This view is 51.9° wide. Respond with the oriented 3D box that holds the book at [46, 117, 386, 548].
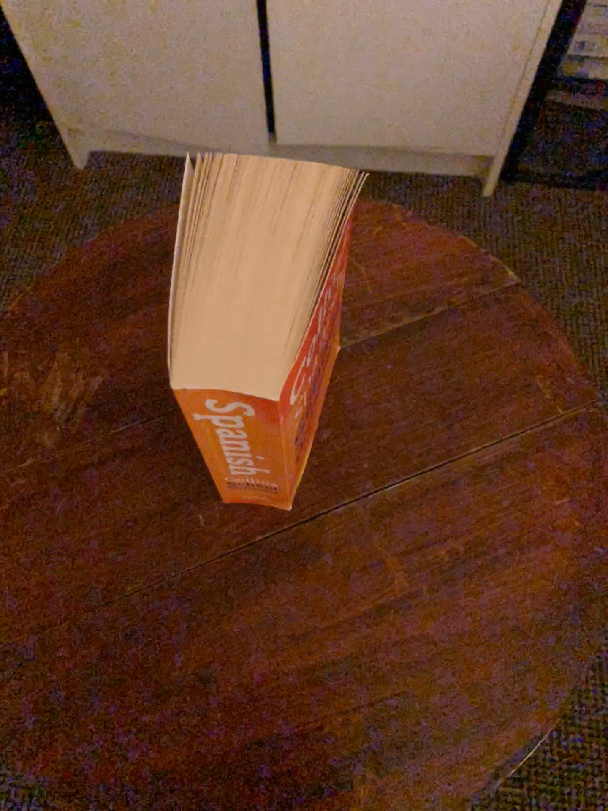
[{"bbox_3d":[-0.020,-0.024,0.298,0.080,0.149,0.141,10,69,16],"label":"book"}]
